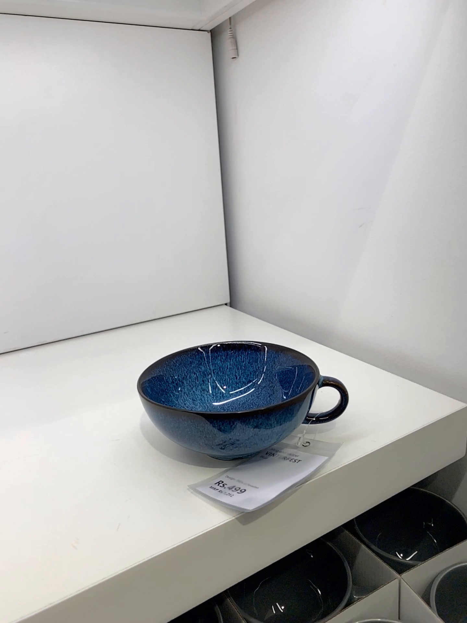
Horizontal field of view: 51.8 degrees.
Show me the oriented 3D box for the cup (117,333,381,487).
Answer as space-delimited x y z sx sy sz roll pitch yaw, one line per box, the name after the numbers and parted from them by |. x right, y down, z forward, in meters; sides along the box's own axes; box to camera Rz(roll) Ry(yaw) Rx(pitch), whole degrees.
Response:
0.010 0.065 0.360 0.160 0.050 0.130 -4 15 1 | cup
